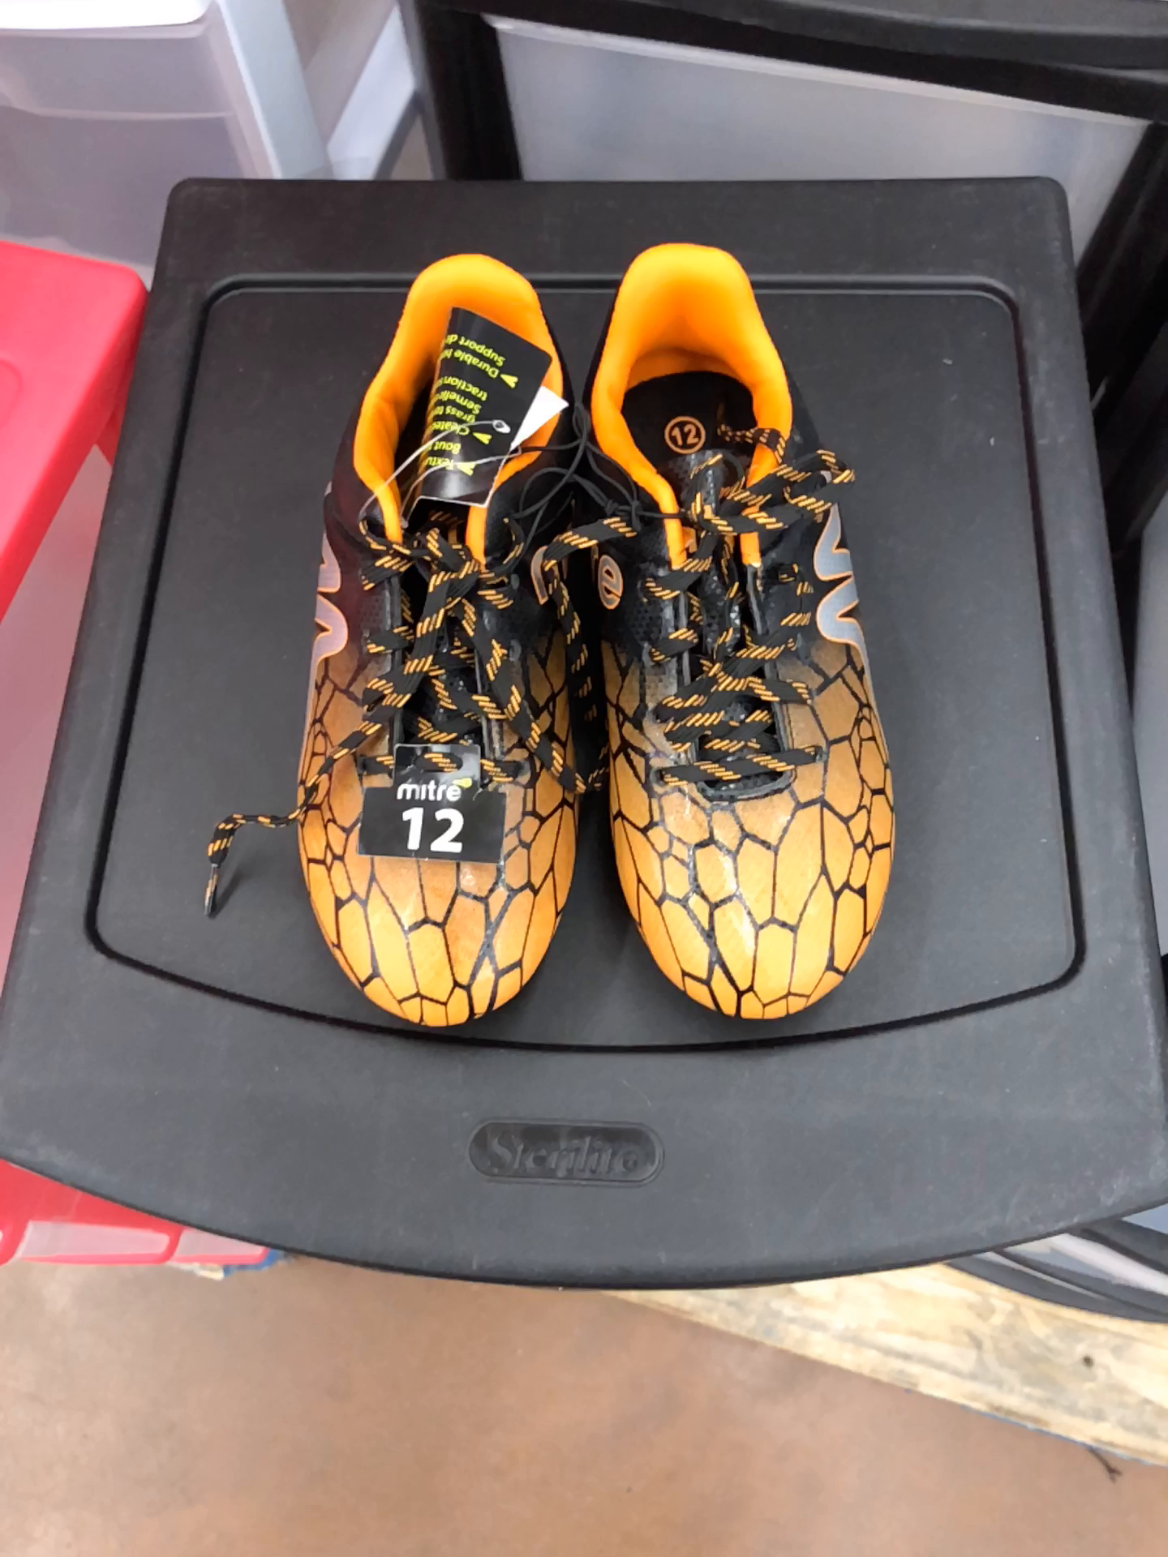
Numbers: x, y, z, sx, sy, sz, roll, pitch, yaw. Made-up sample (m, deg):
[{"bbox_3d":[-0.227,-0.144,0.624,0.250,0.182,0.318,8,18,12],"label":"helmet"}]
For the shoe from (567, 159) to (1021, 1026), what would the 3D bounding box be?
[{"bbox_3d":[0.042,-0.047,0.325,0.080,0.070,0.200,-4,69,1],"label":"shoe"}]

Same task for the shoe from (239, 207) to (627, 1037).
[{"bbox_3d":[-0.034,-0.040,0.344,0.080,0.080,0.200,-3,69,2],"label":"shoe"}]
